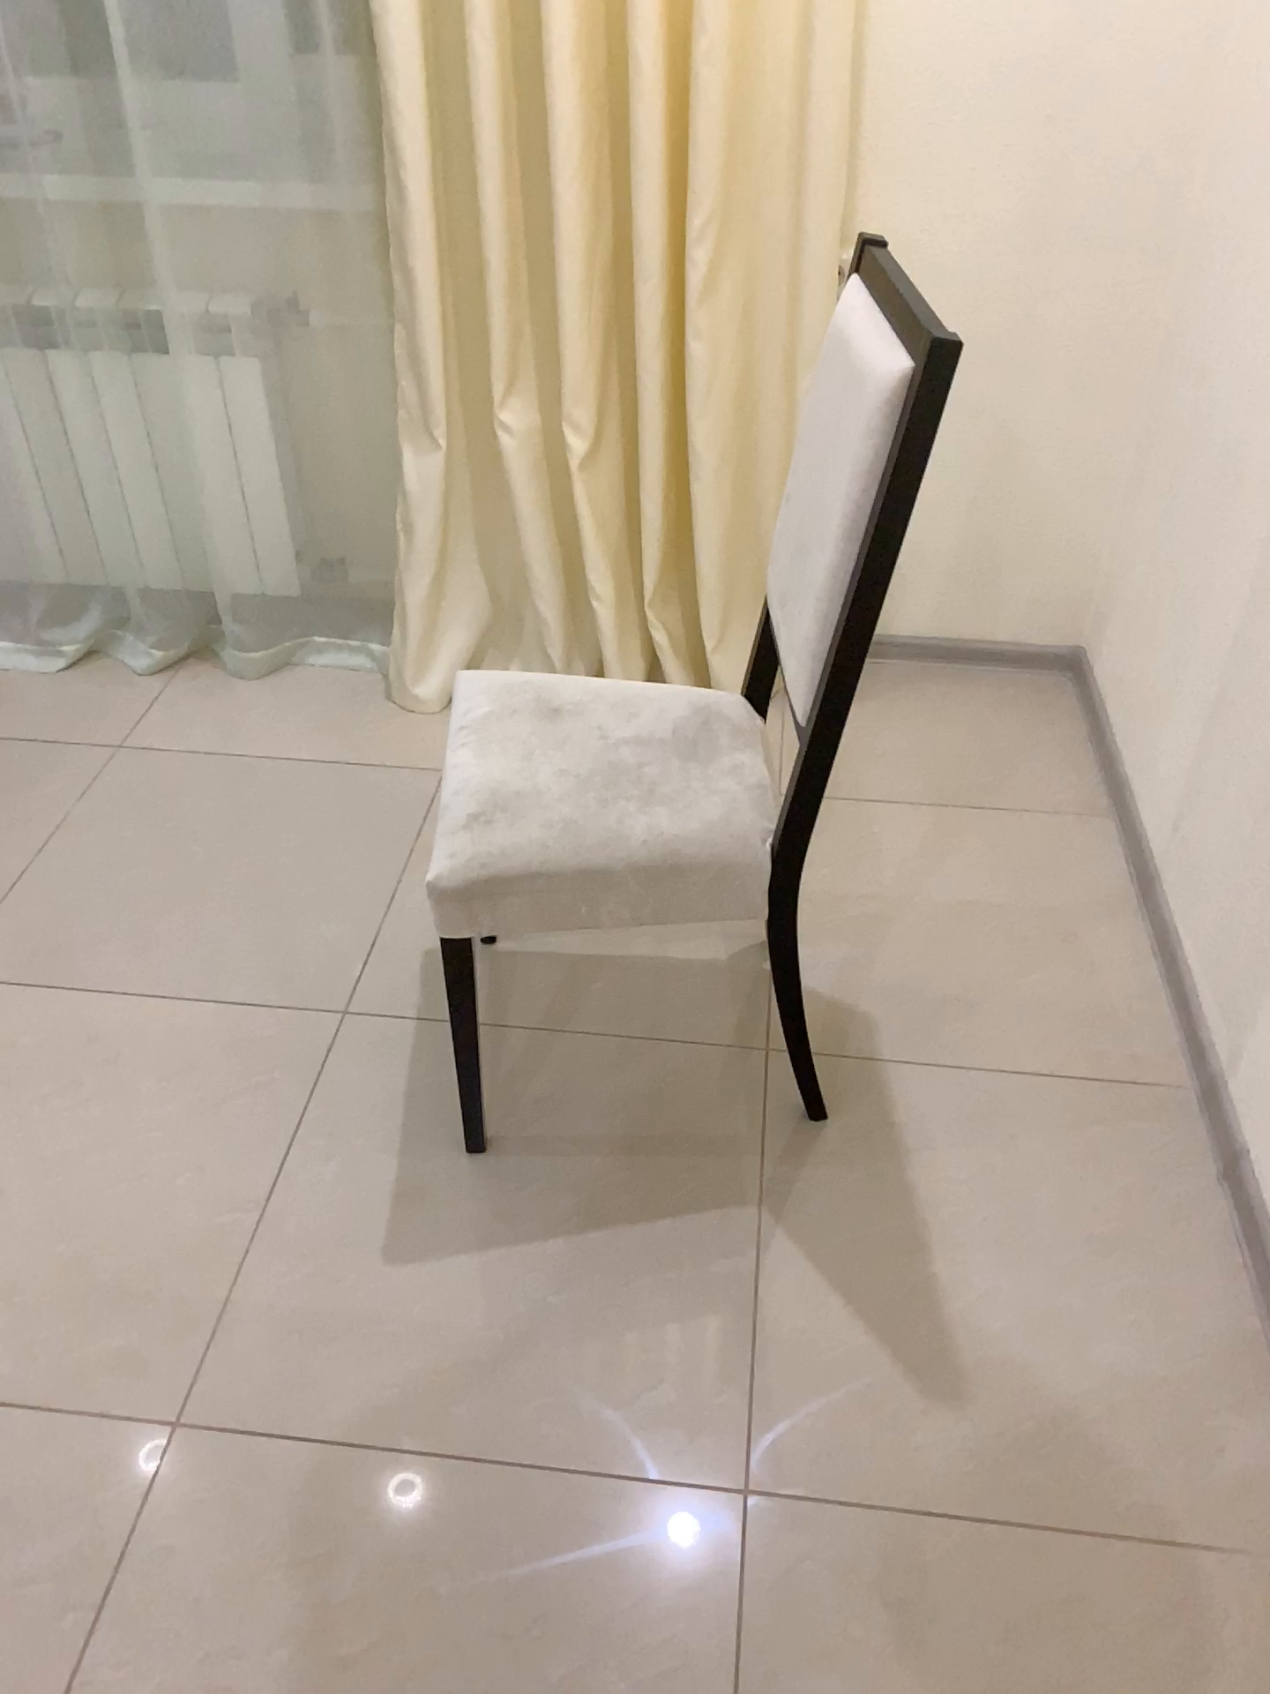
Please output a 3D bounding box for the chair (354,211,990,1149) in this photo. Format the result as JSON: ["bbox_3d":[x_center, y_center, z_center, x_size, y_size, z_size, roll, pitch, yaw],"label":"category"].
[{"bbox_3d":[0.009,-0.160,1.512,0.510,0.964,0.483,0,36,-2],"label":"chair"}]
